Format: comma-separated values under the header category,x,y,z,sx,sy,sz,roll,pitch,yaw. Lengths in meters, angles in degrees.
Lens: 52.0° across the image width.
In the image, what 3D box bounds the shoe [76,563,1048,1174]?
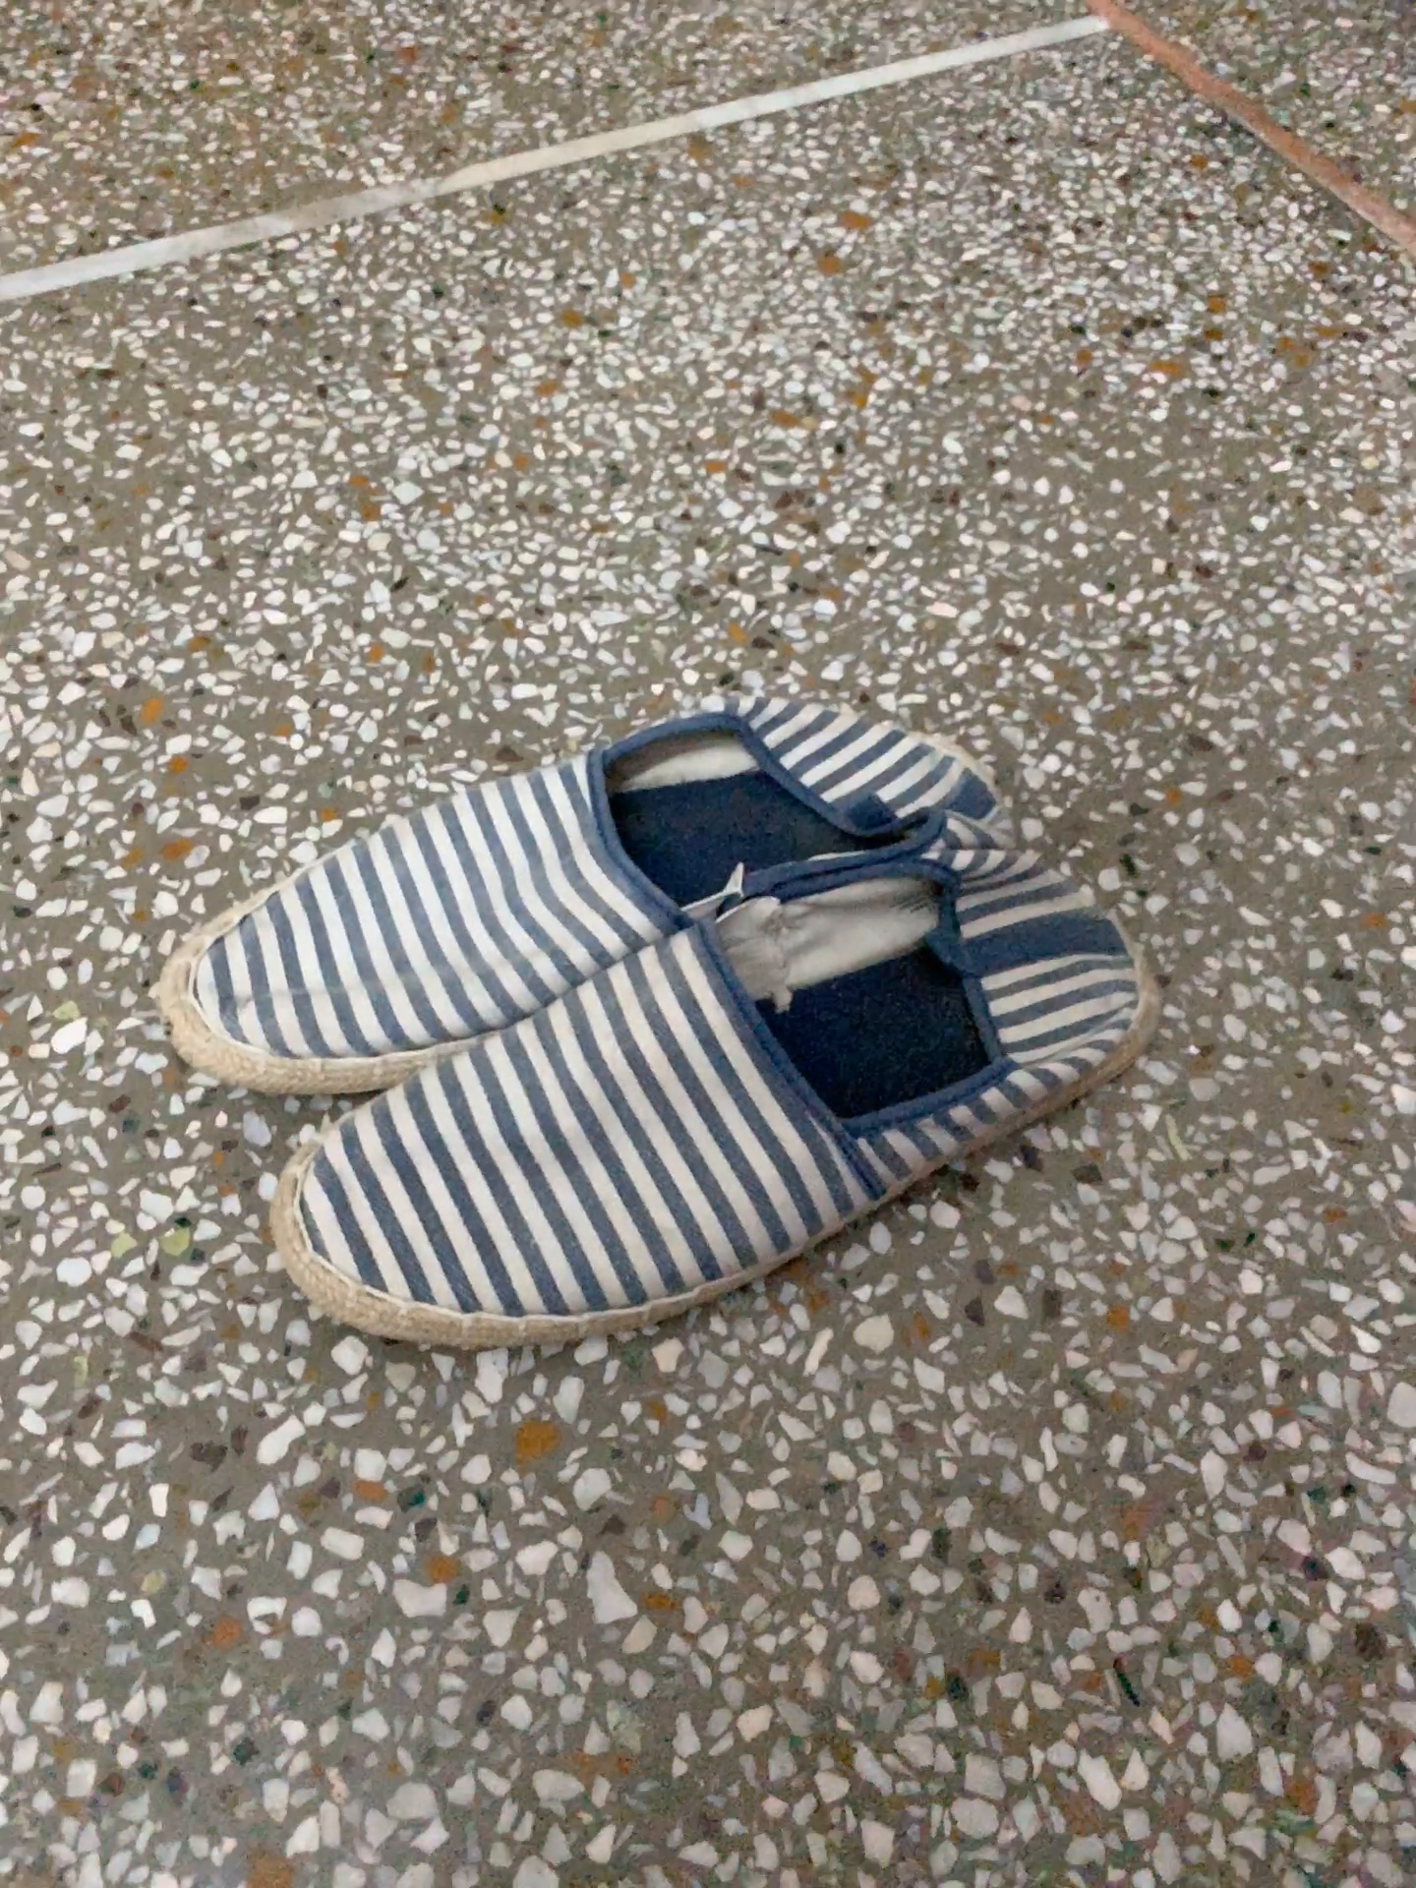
category,x,y,z,sx,sy,sz,roll,pitch,yaw
shoe,-0.041,-0.034,0.479,0.290,0.050,0.100,-22,61,-17

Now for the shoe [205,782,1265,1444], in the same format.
category,x,y,z,sx,sy,sz,roll,pitch,yaw
shoe,0.011,0.042,0.439,0.290,0.050,0.100,-18,60,-14
